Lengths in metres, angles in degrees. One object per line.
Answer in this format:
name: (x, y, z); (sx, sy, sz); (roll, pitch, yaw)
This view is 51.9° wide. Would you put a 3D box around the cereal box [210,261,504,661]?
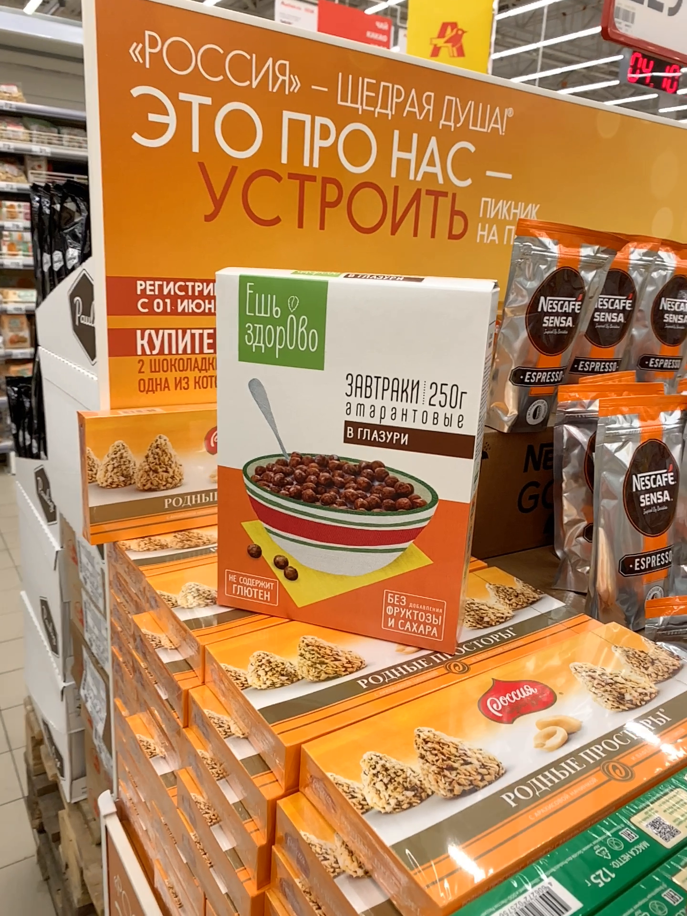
cereal box: (0.003, -0.003, 0.512); (0.190, 0.259, 0.060); (8, 16, 17)
